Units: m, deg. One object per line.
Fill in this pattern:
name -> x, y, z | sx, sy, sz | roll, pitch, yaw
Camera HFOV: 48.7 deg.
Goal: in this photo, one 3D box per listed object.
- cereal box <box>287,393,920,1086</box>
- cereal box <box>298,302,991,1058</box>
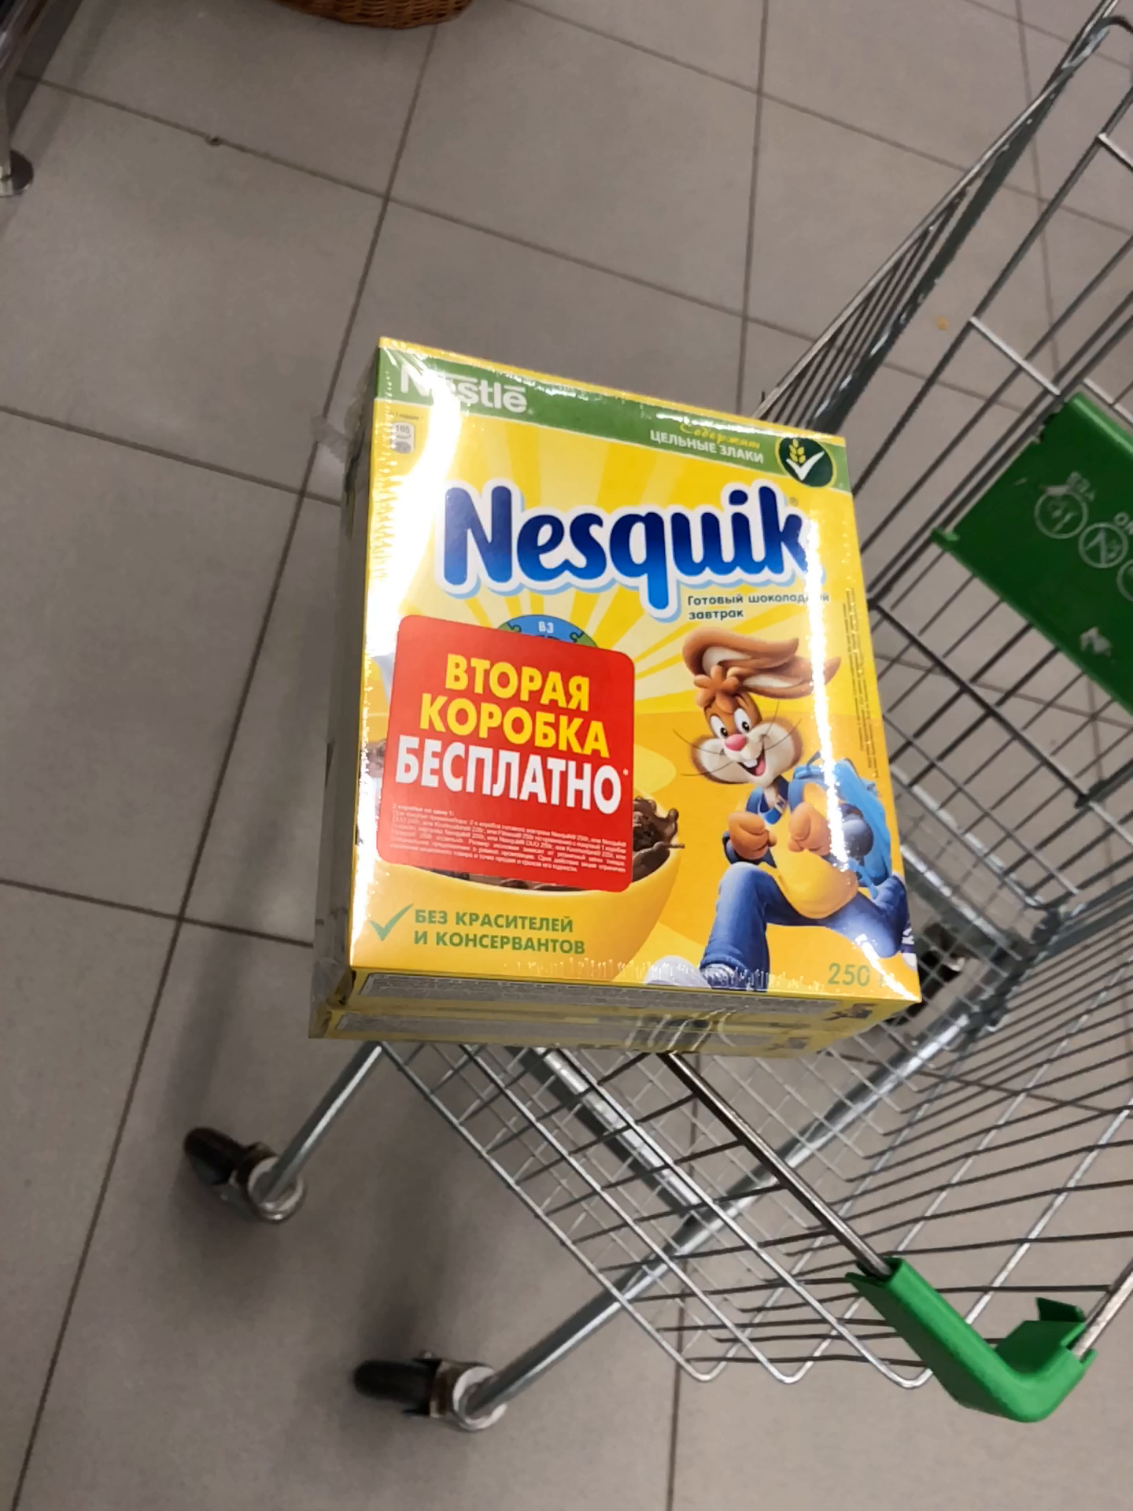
cereal box -> 0.012, -0.005, 0.474 | 0.210, 0.050, 0.241 | 7, 63, -19
cereal box -> 0.024, -0.025, 0.436 | 0.210, 0.050, 0.241 | 7, 63, -19
